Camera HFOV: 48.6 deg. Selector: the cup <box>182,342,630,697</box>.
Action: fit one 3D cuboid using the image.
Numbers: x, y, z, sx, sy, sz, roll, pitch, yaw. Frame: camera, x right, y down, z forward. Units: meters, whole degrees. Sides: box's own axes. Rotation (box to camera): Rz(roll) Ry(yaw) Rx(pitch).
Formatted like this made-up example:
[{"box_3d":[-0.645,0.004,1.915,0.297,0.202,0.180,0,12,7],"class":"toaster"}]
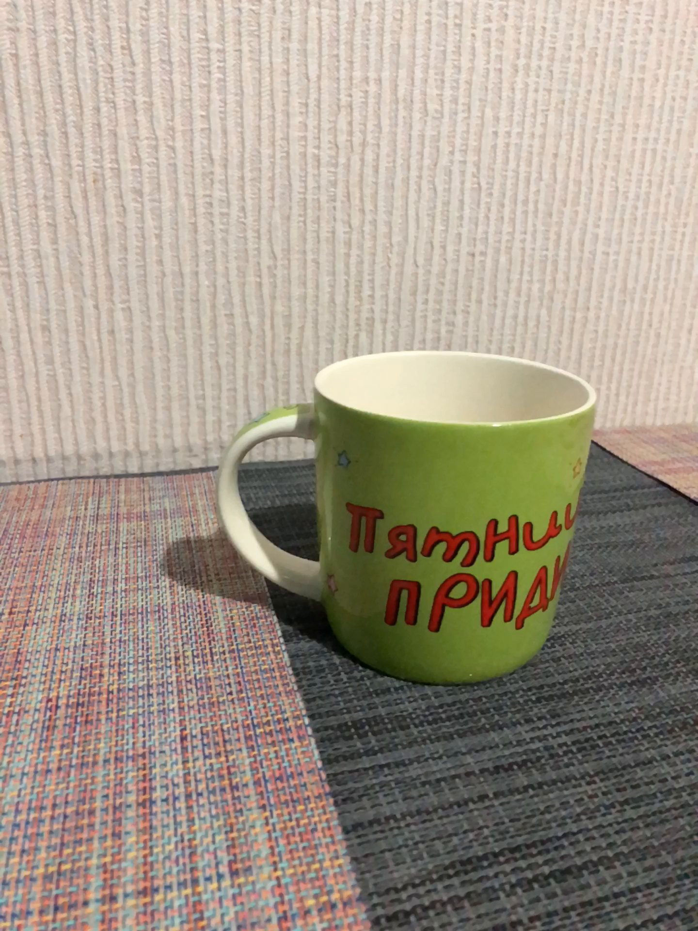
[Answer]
[{"box_3d":[0.014,0.011,0.255,0.115,0.084,0.090,2,20,0],"class":"cup"}]
